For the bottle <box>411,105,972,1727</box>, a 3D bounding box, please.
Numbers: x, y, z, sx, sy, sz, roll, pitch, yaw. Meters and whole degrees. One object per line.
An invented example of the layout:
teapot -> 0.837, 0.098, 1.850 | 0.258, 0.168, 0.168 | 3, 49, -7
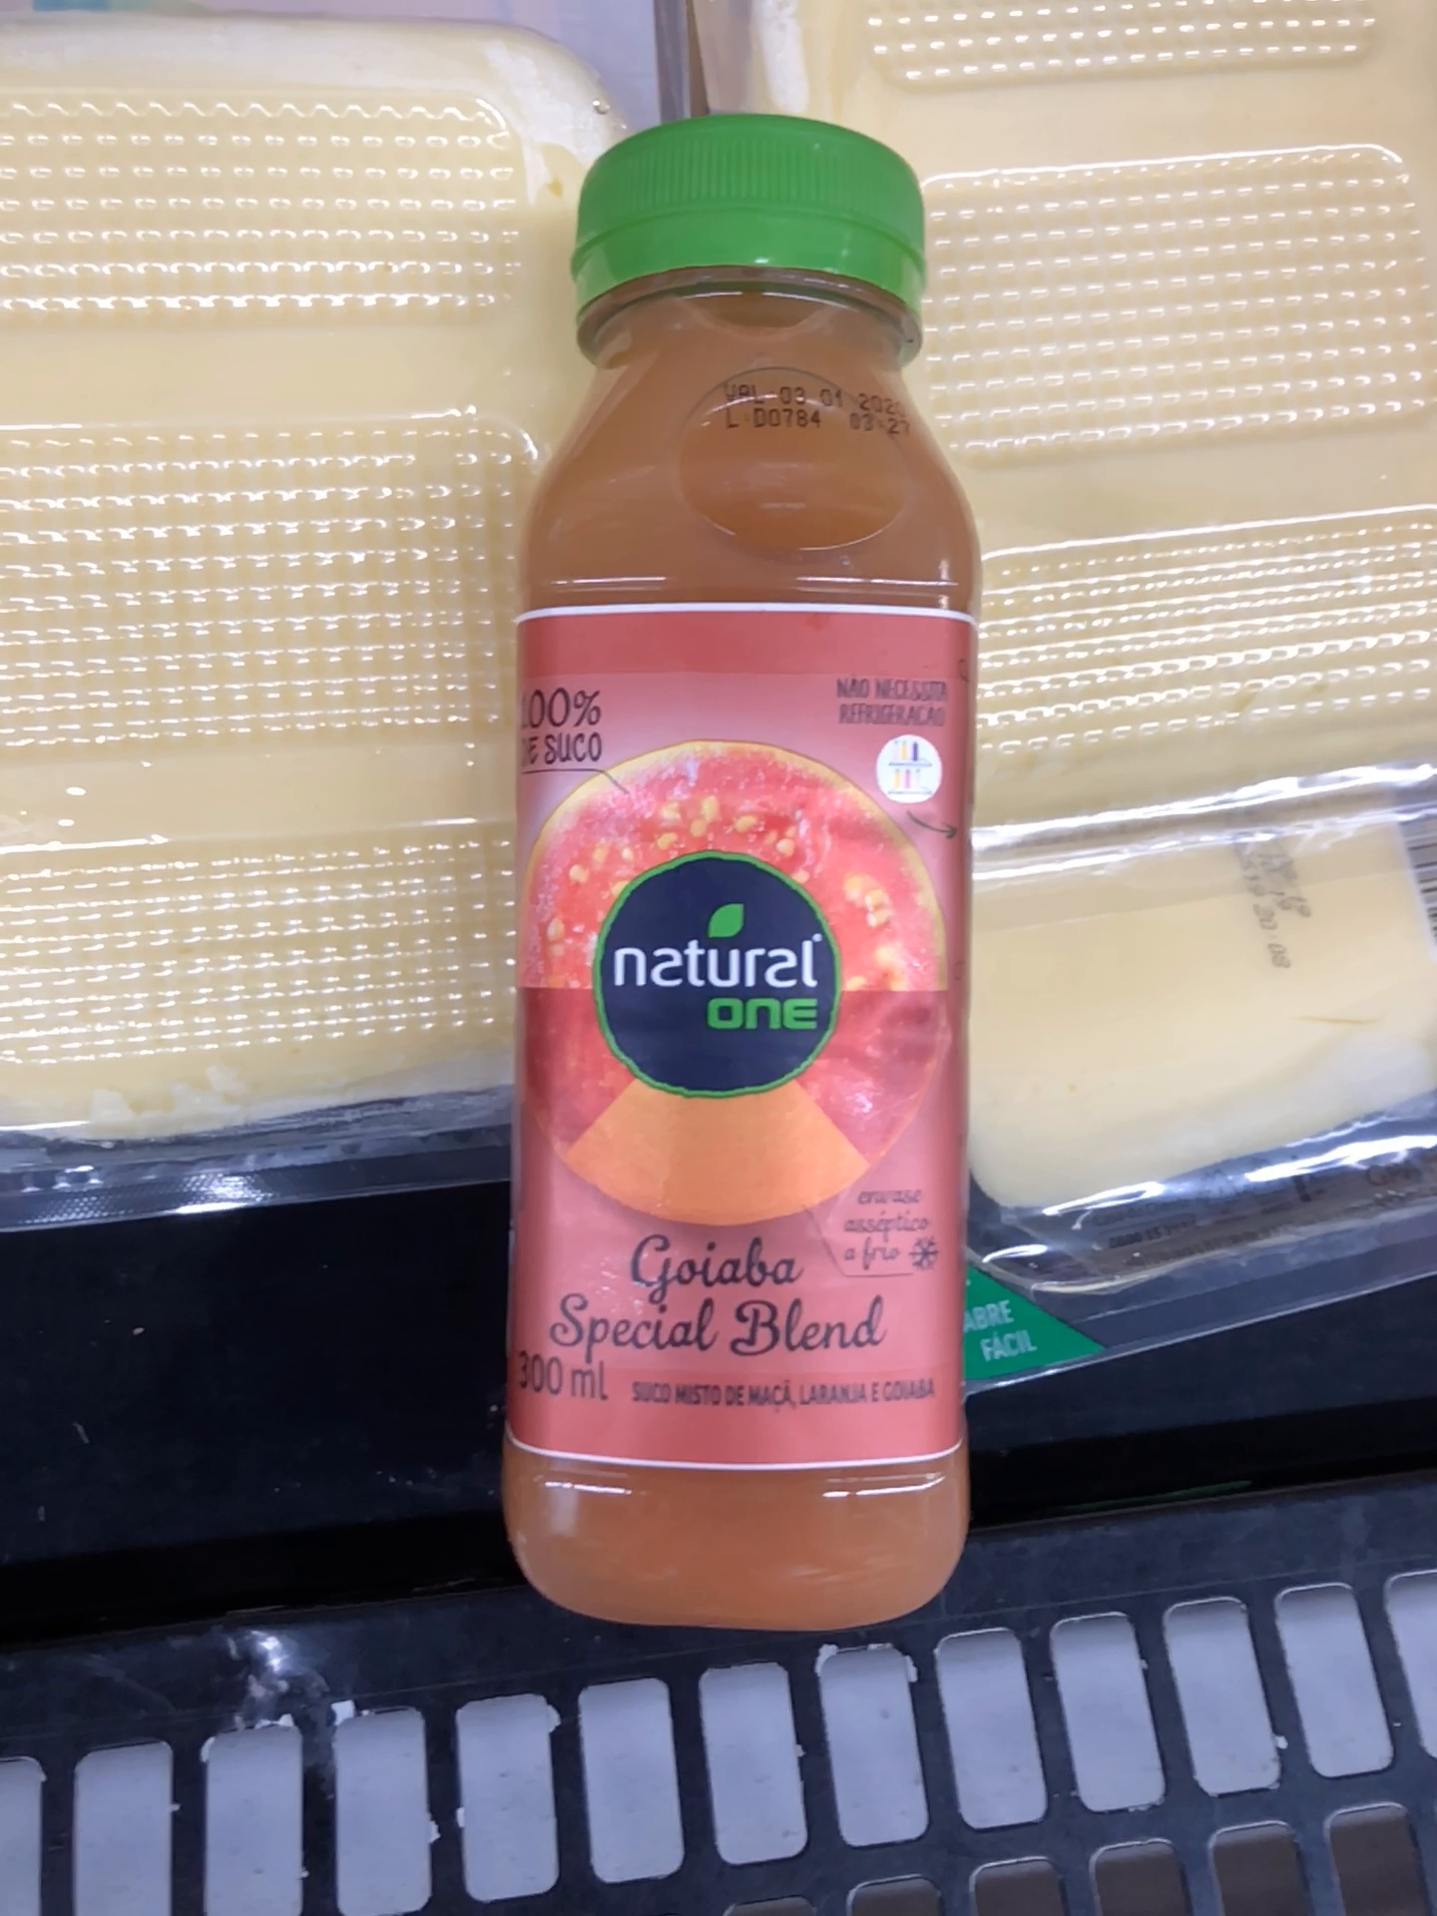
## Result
bottle -> -0.005, -0.006, 0.215 | 0.060, 0.070, 0.180 | 0, 85, -5
